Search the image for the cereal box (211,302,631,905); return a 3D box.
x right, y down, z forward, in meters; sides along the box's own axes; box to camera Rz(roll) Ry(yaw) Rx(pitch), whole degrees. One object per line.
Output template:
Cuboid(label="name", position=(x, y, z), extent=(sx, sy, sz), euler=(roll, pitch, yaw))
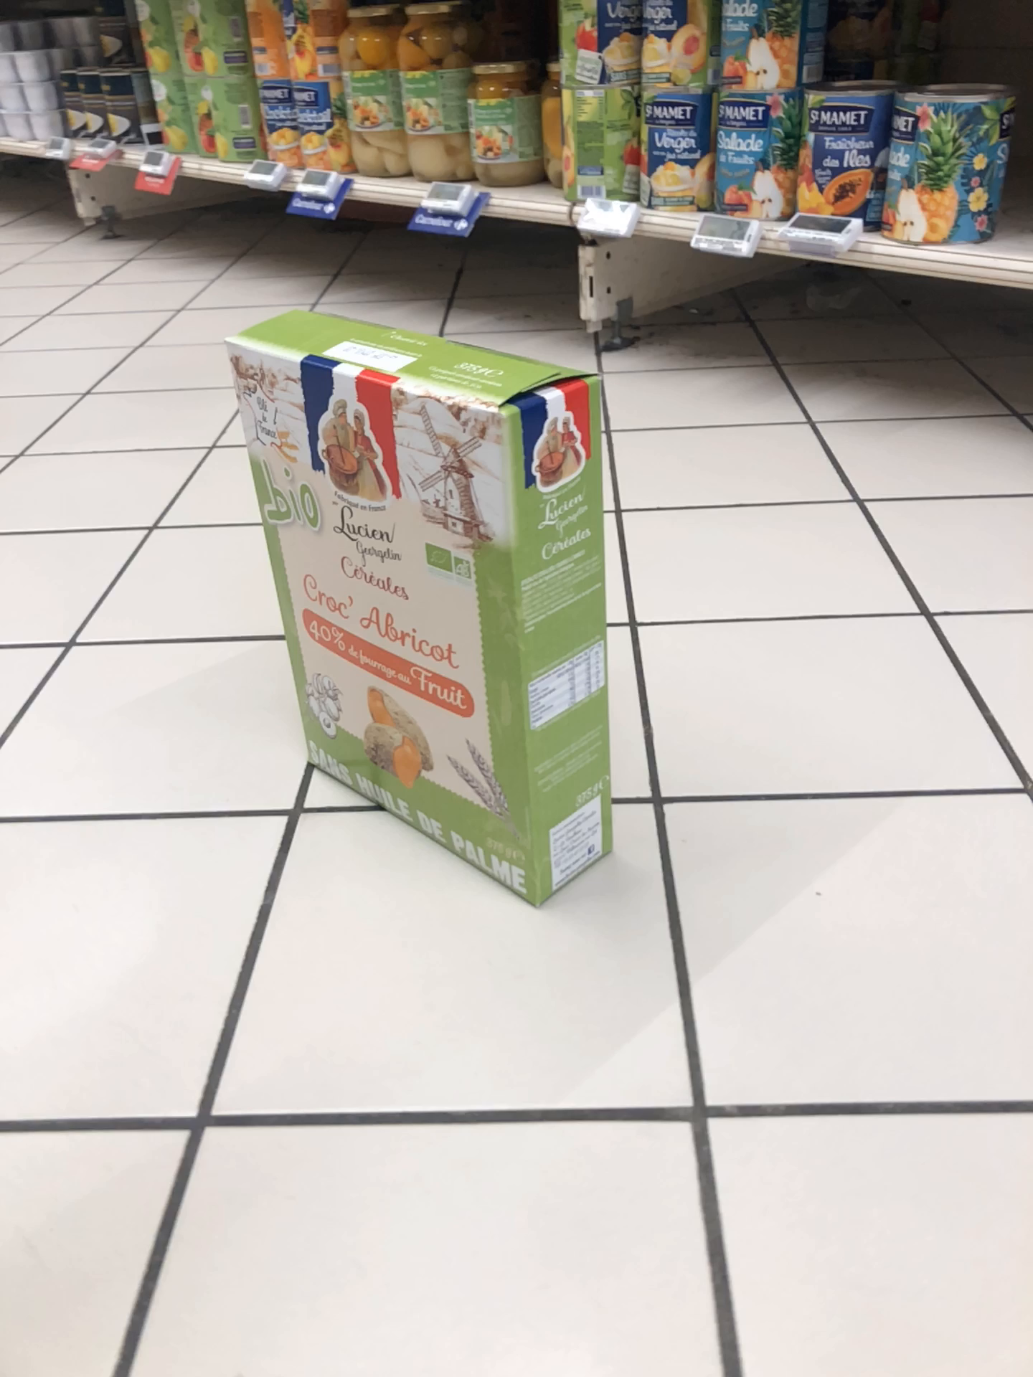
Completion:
Cuboid(label="cereal box", position=(-0.044, -0.048, 0.558), extent=(0.200, 0.239, 0.070), euler=(25, 41, 38))
